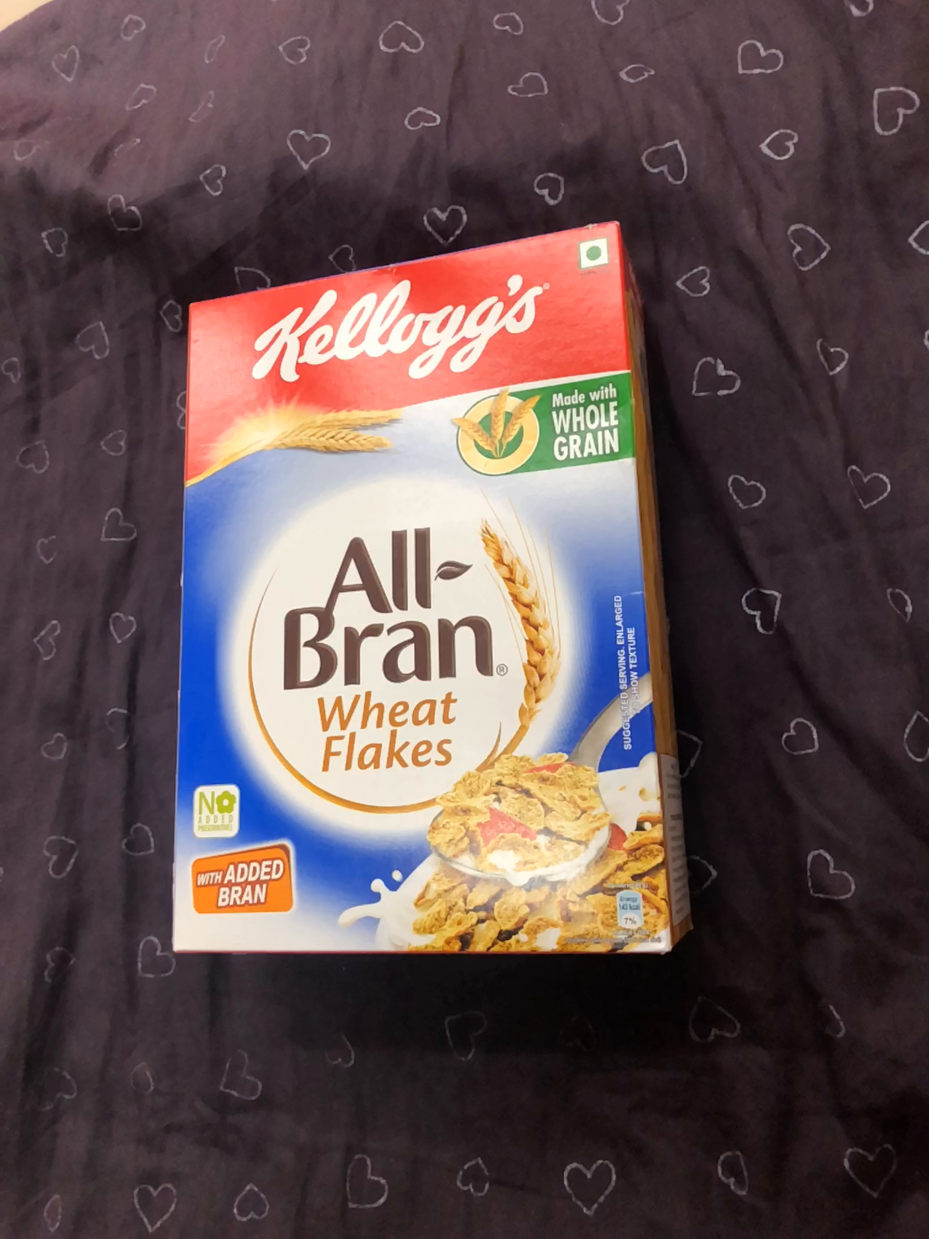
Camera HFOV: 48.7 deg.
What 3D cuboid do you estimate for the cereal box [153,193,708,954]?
[{"bbox_3d":[-0.014,-0.011,0.400,0.190,0.070,0.260,-5,78,16],"label":"cereal box"}]
